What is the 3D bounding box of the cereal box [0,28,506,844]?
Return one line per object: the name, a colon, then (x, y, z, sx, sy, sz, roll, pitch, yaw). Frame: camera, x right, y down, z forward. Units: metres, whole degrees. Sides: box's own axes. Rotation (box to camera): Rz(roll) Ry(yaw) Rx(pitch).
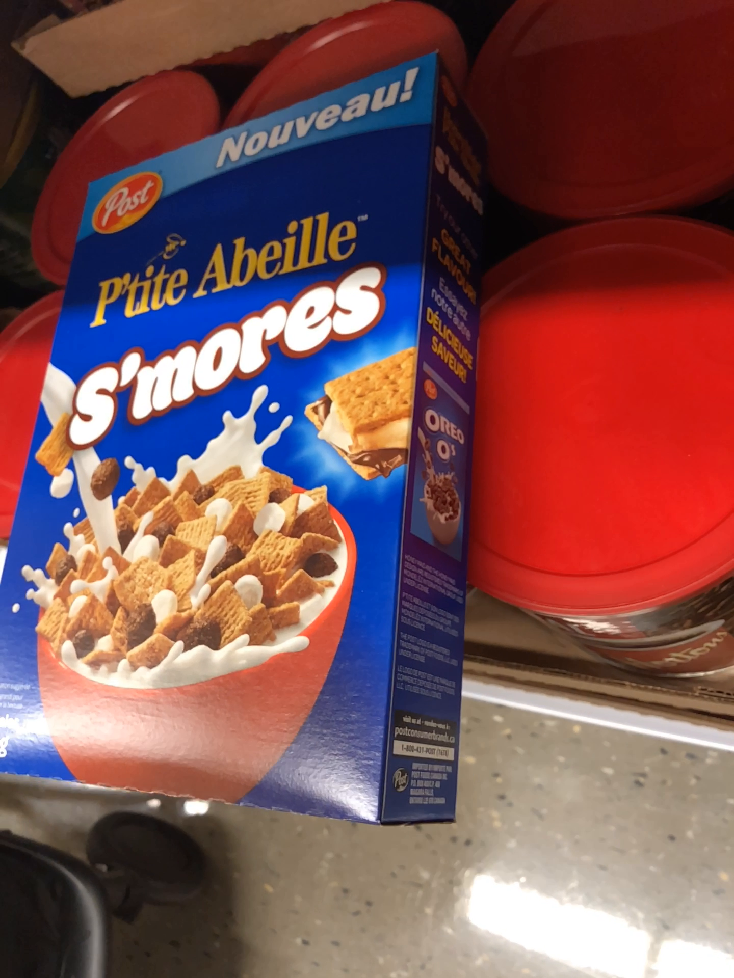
cereal box: (-0.053, -0.022, 0.346, 0.201, 0.060, 0.290, -6, 69, 31)
